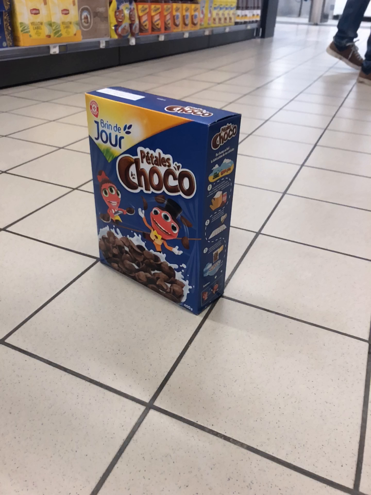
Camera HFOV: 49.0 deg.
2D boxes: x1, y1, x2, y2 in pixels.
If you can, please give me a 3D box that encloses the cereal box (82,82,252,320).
[{"bbox_3d":[-0.031,-0.064,0.529,0.200,0.249,0.070,25,38,33],"label":"cereal box"}]
